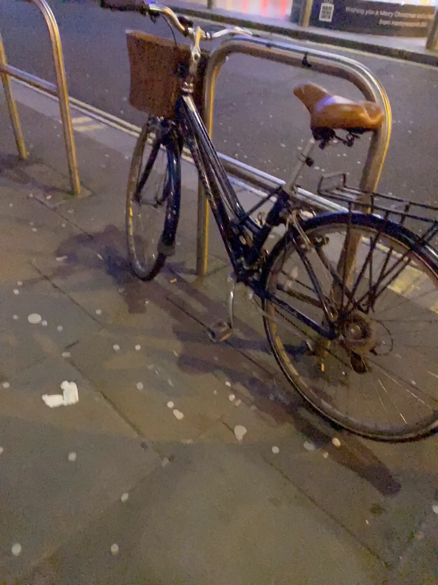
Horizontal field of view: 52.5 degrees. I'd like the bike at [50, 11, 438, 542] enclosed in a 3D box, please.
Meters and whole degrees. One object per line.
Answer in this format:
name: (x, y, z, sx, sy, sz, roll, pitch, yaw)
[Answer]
bike: (0.141, -0.290, 1.564, 0.661, 1.063, 1.715, -24, 44, -31)
